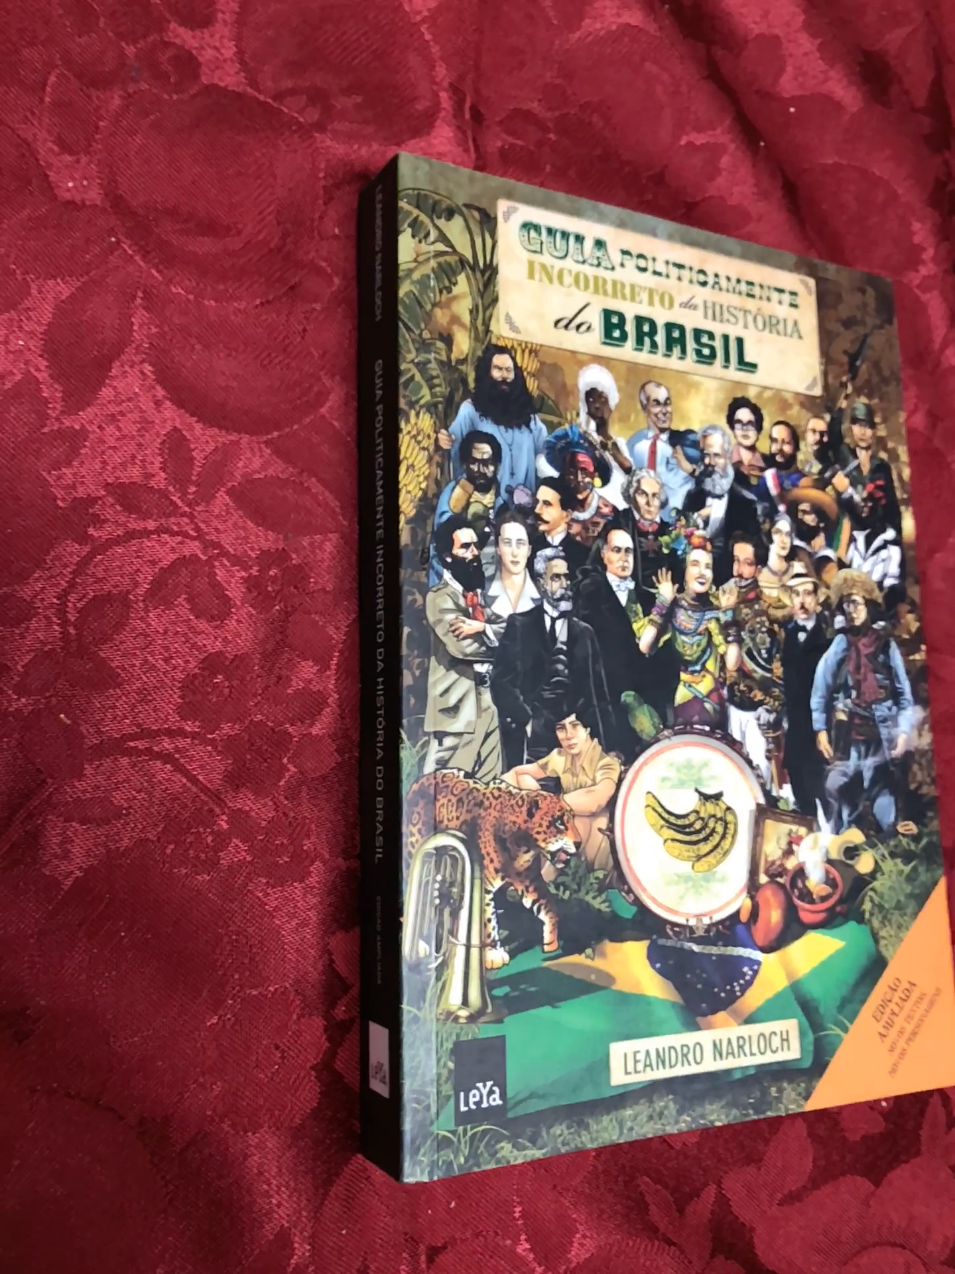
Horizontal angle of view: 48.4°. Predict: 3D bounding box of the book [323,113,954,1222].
[{"bbox_3d":[0.044,0.003,0.268,0.160,0.030,0.230,1,84,-26],"label":"book"}]
